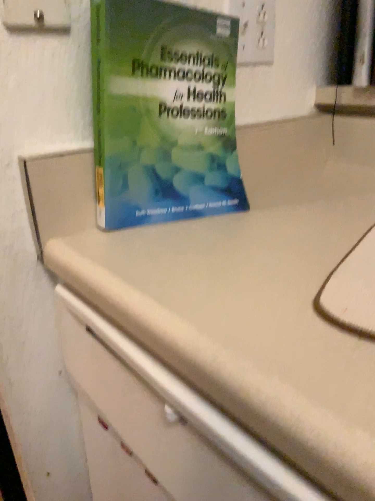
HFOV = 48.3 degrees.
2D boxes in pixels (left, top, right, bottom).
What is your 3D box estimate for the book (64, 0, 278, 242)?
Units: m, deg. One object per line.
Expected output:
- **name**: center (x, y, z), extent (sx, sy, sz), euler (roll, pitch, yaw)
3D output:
- **book**: center (-0.012, -0.173, 0.540), extent (0.240, 0.270, 0.090), euler (-14, 25, -32)
